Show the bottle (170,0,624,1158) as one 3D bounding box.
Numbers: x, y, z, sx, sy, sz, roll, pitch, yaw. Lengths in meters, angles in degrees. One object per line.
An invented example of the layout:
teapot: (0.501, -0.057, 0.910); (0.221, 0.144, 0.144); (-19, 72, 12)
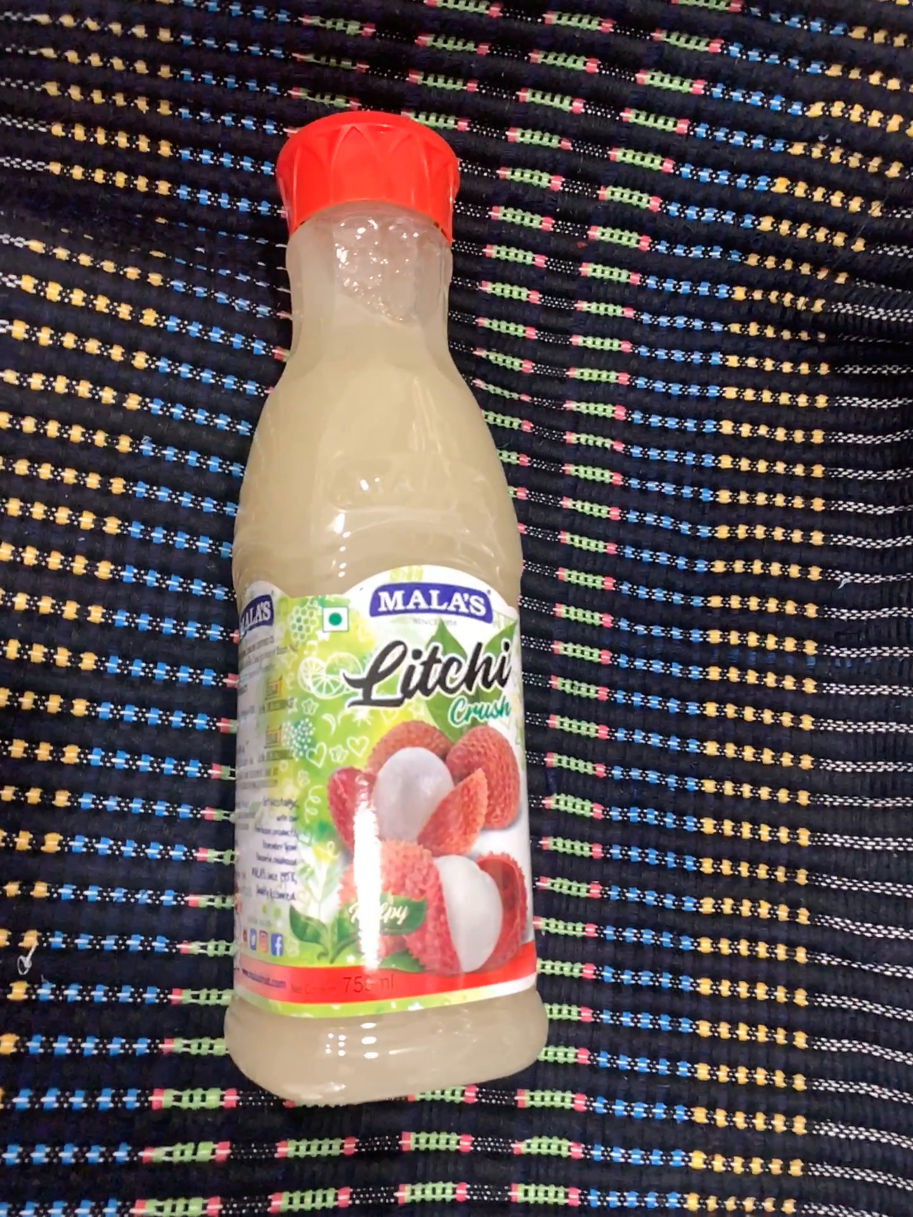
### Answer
bottle: (-0.022, -0.025, 0.237); (0.080, 0.080, 0.260); (3, 79, -24)
